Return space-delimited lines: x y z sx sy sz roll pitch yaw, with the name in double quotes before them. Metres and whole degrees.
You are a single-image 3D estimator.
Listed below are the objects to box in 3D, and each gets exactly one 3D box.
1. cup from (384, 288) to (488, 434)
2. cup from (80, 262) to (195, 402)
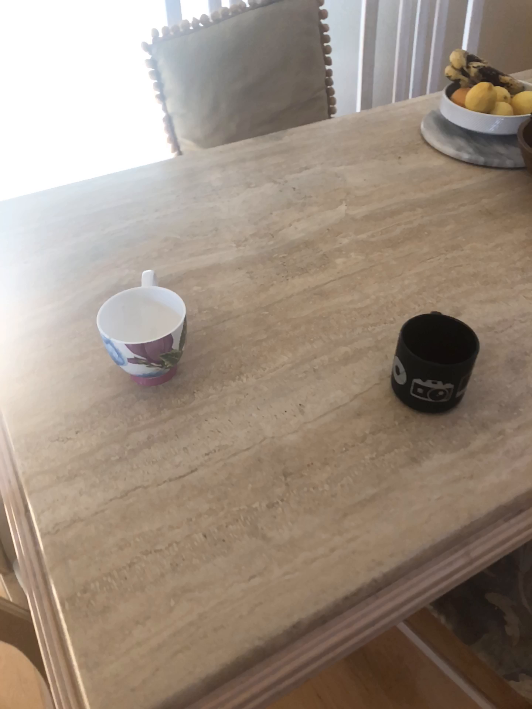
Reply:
"cup" 0.207 0.005 0.725 0.100 0.089 0.151 7 45 8
"cup" -0.154 -0.032 0.742 0.110 0.089 0.161 -2 44 -1
